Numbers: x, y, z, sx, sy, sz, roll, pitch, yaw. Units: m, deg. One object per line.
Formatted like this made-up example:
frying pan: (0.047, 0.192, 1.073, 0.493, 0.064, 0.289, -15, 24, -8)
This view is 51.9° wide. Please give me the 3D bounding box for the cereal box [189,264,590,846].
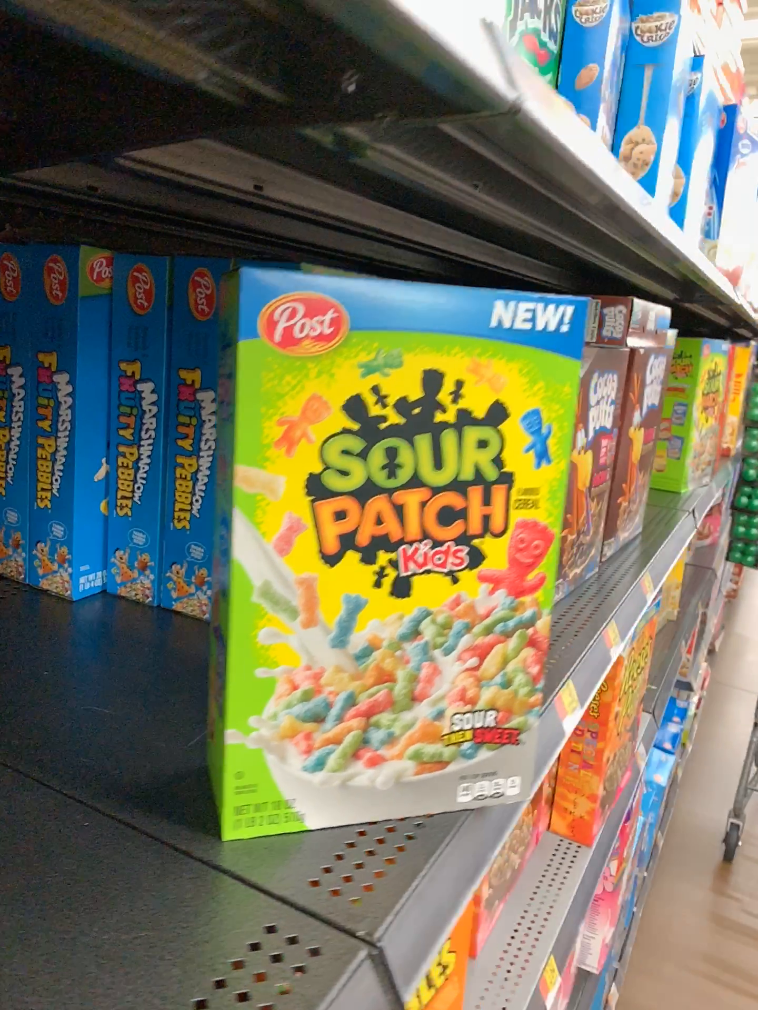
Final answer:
cereal box: (-0.003, 0.028, 0.467, 0.200, 0.309, 0.080, 0, 13, -19)
